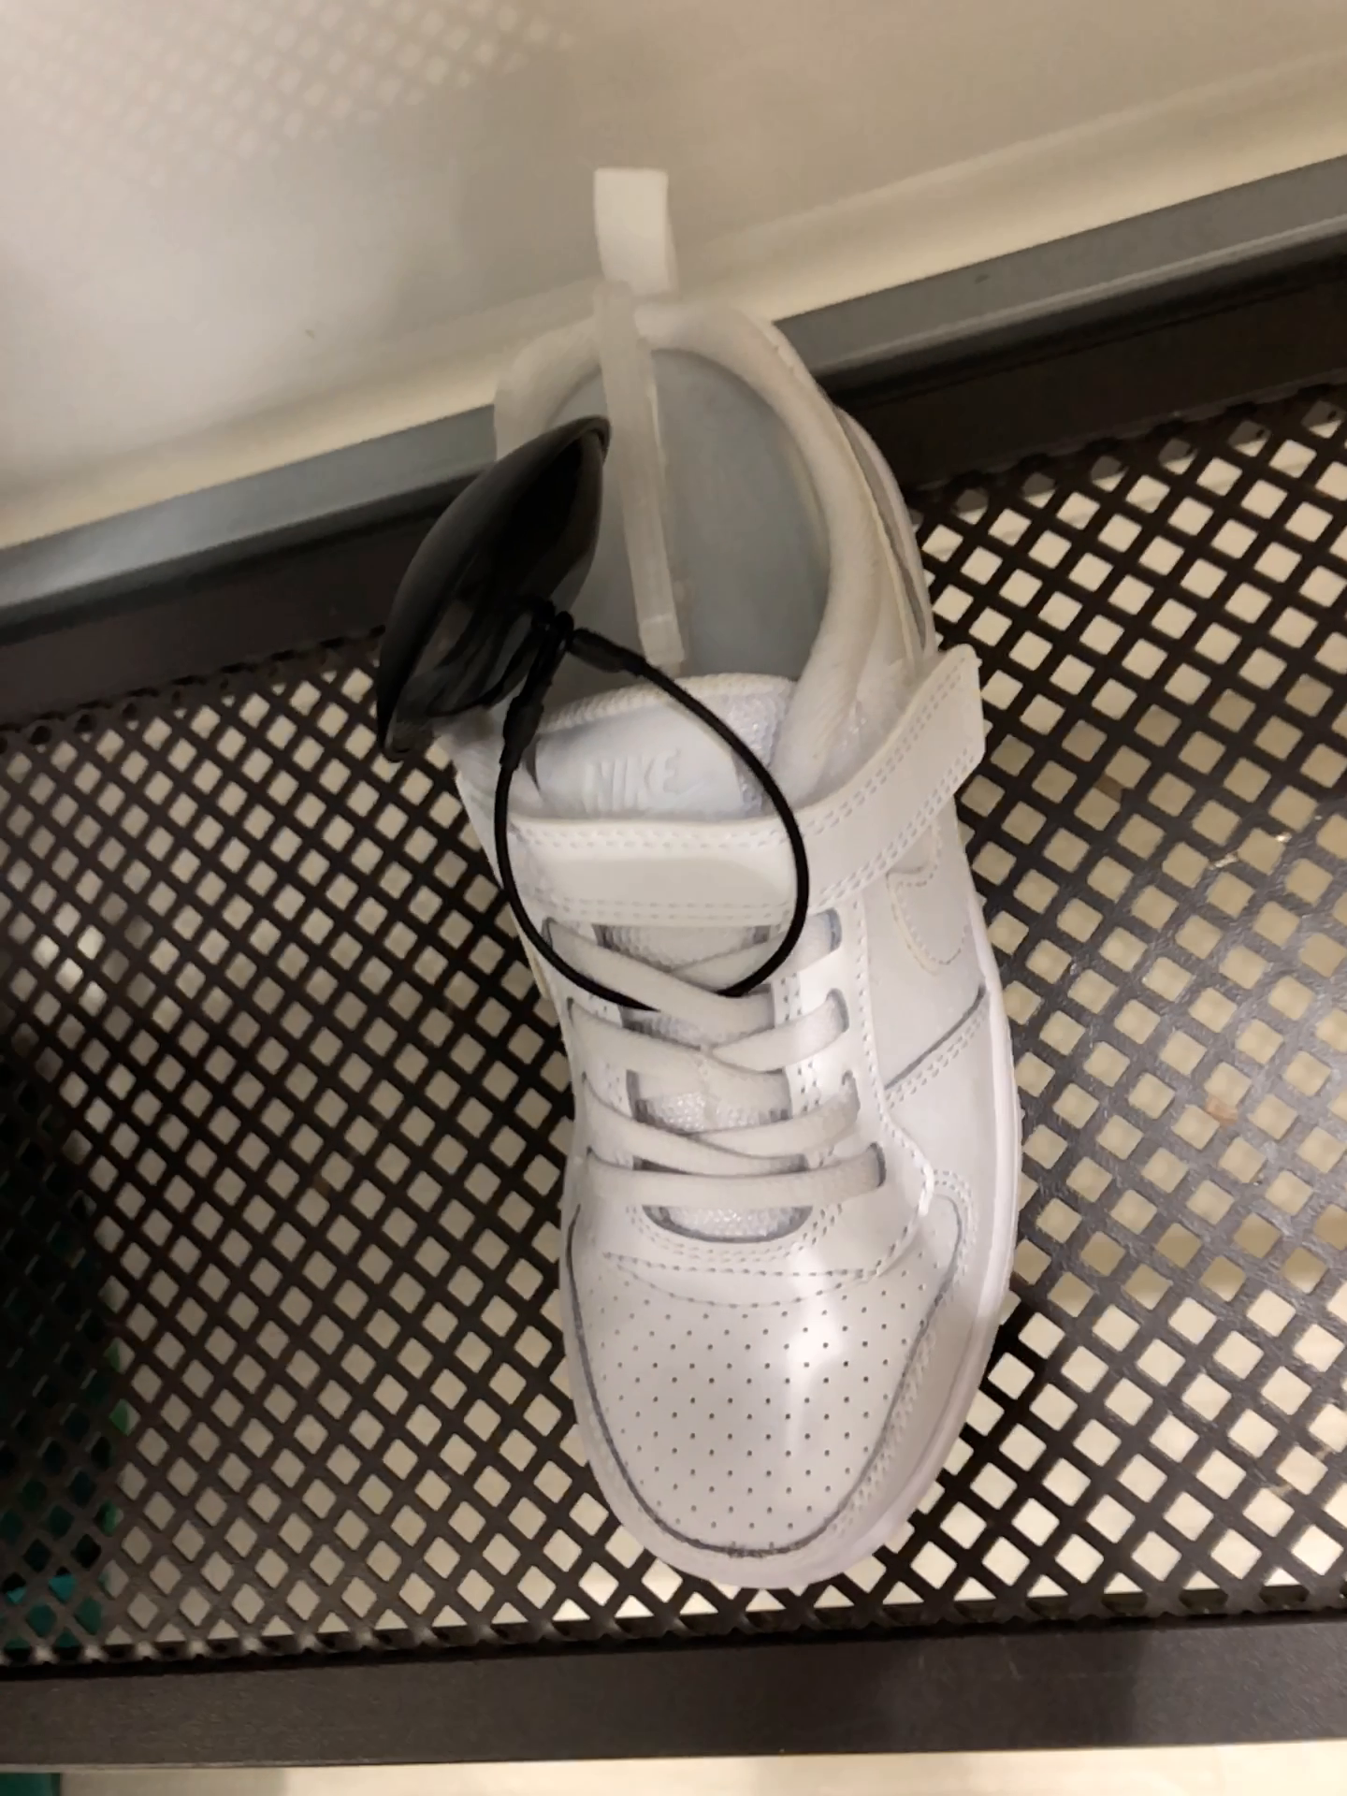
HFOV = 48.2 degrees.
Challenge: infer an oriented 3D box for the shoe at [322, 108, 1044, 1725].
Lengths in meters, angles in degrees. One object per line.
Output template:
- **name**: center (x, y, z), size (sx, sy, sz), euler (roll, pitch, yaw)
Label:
- **shoe**: center (0.011, 0.003, 0.242), size (0.080, 0.100, 0.200), euler (-3, 78, 18)
